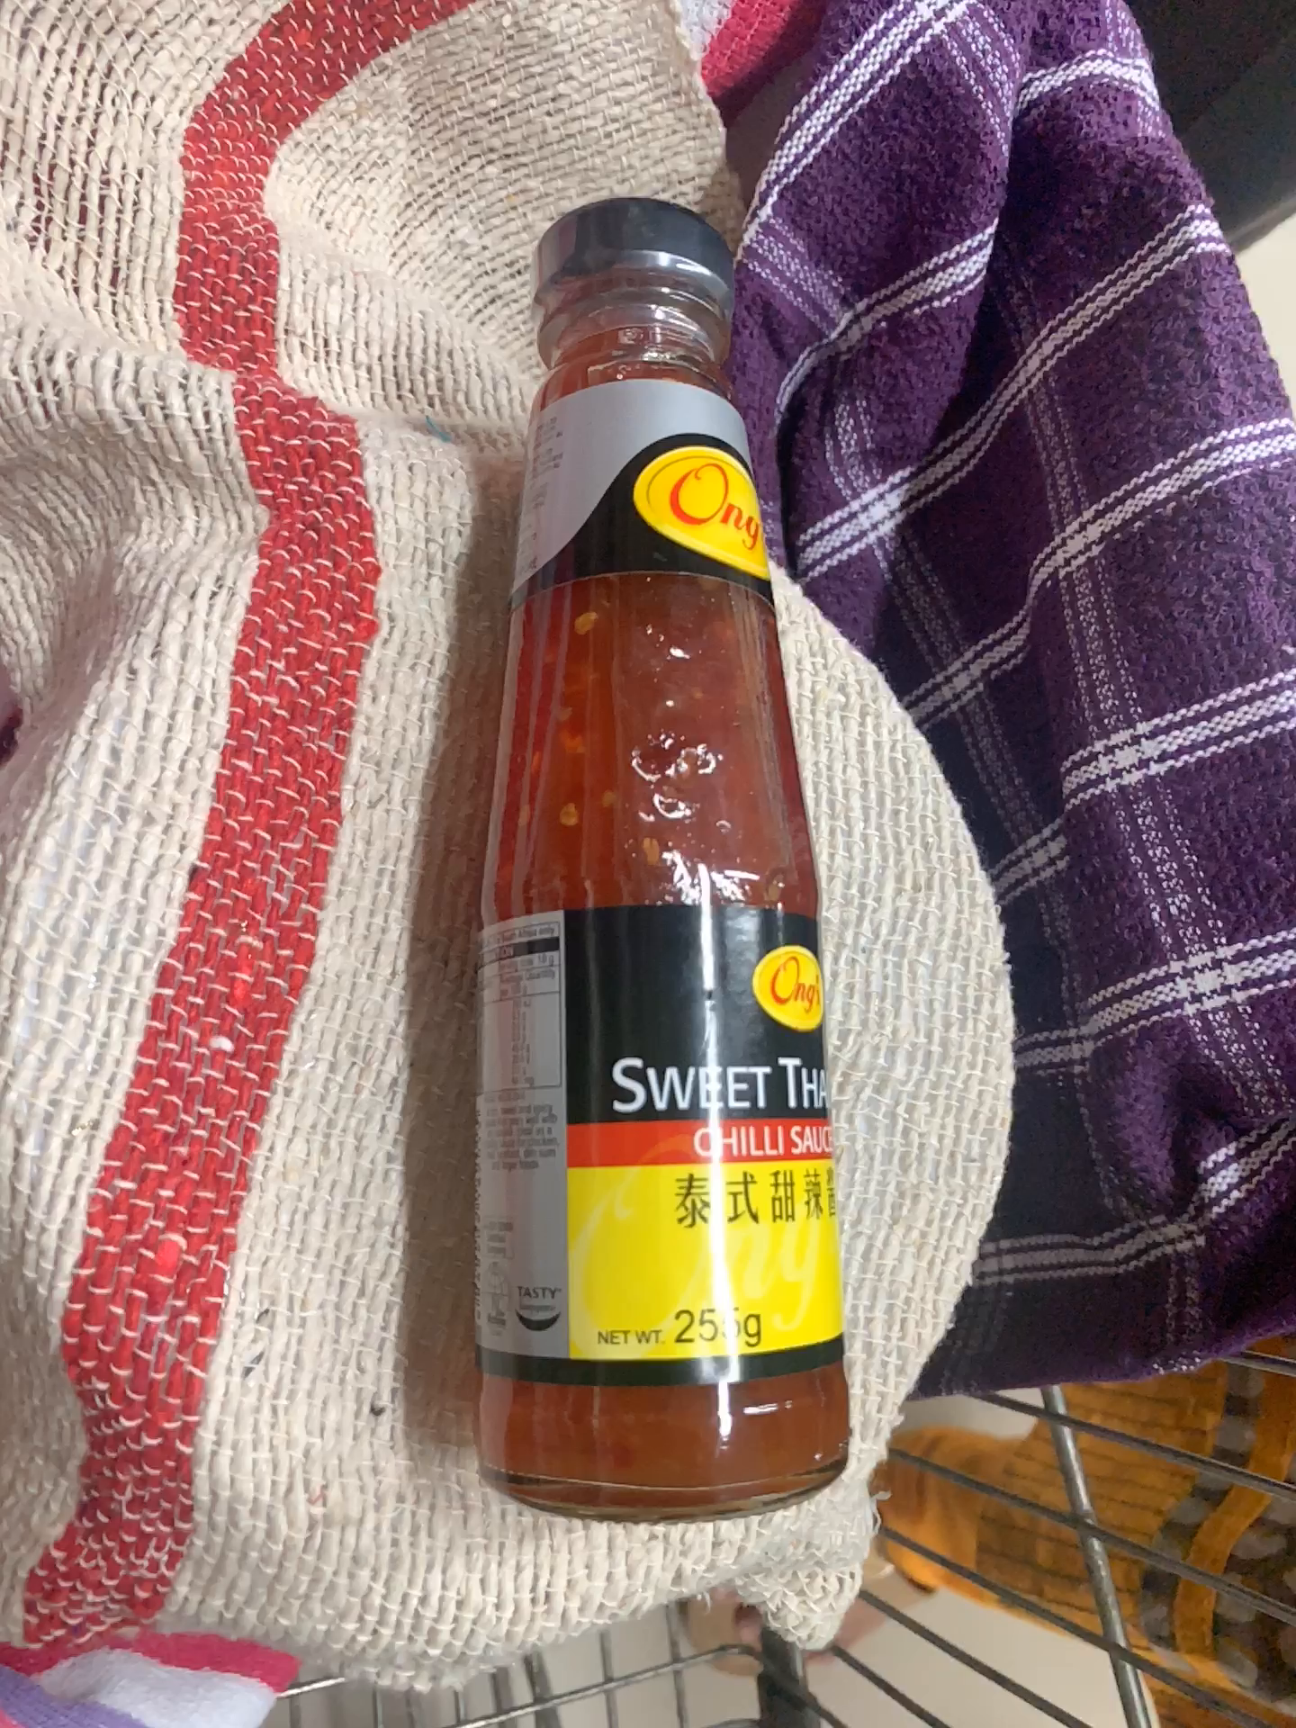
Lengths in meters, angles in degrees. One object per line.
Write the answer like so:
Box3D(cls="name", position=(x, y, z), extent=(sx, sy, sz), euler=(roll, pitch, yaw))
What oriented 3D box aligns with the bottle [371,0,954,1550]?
Box3D(cls="bottle", position=(0.004, -0.015, 0.195), extent=(0.060, 0.050, 0.190), euler=(13, 74, -48))
